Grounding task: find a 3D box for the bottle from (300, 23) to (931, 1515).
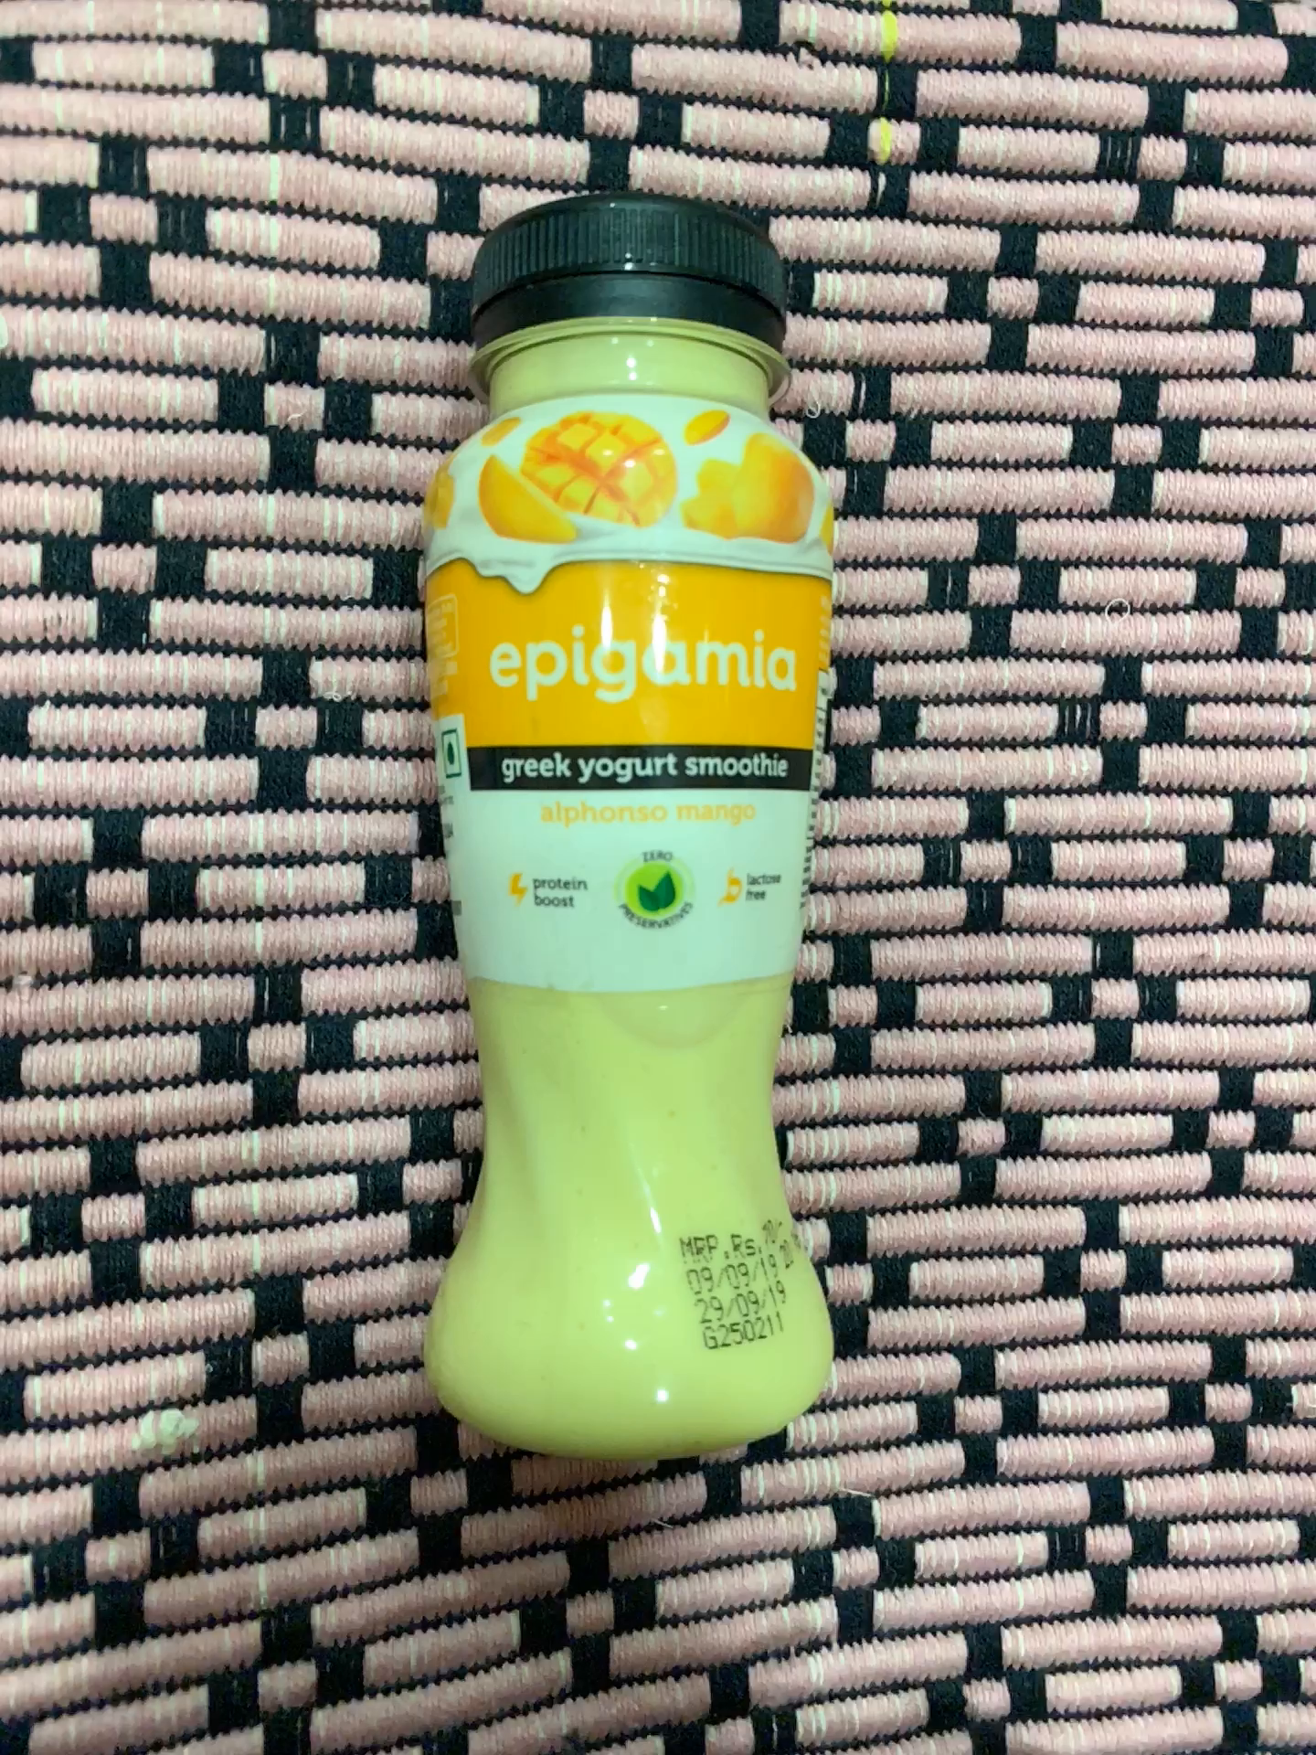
[{"bbox_3d":[-0.006,-0.013,0.179,0.060,0.060,0.160,-3,90,-3],"label":"bottle"}]
